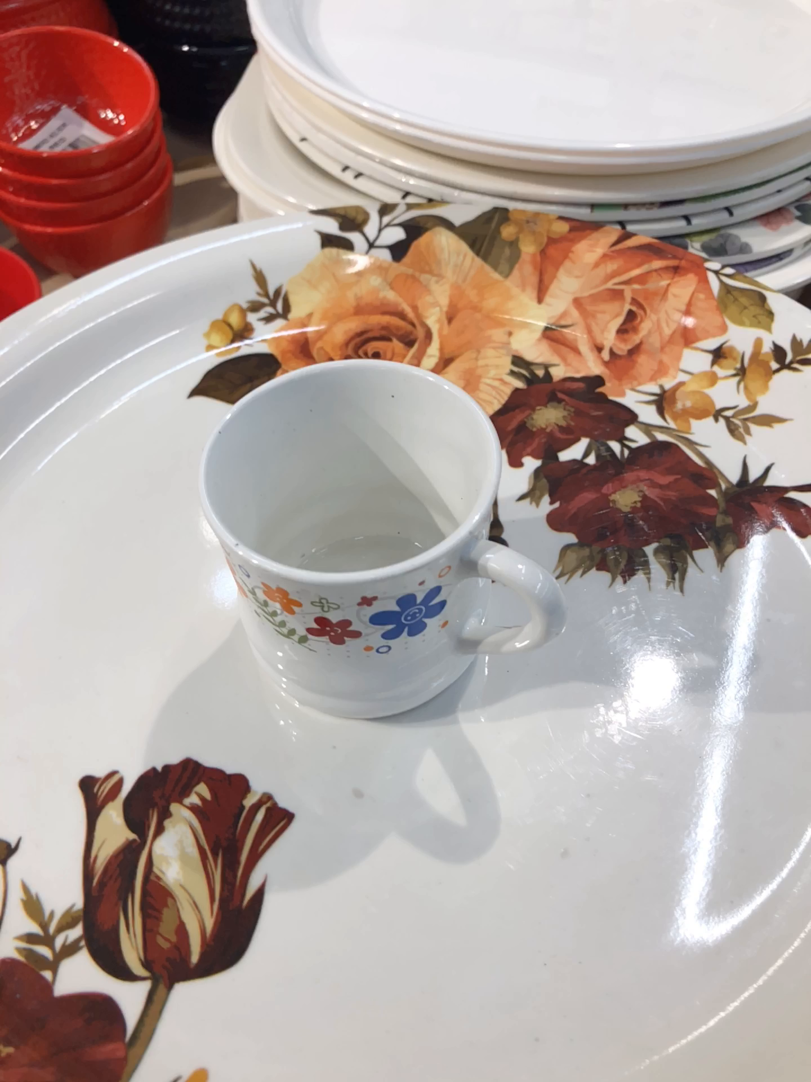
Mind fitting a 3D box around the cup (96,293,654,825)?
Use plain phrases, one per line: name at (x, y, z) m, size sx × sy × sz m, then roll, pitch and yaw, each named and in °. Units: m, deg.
cup at (-0.005, 0.004, 0.229) m, size 0.100 × 0.080 × 0.070 m, roll 22°, pitch 57°, yaw 18°
